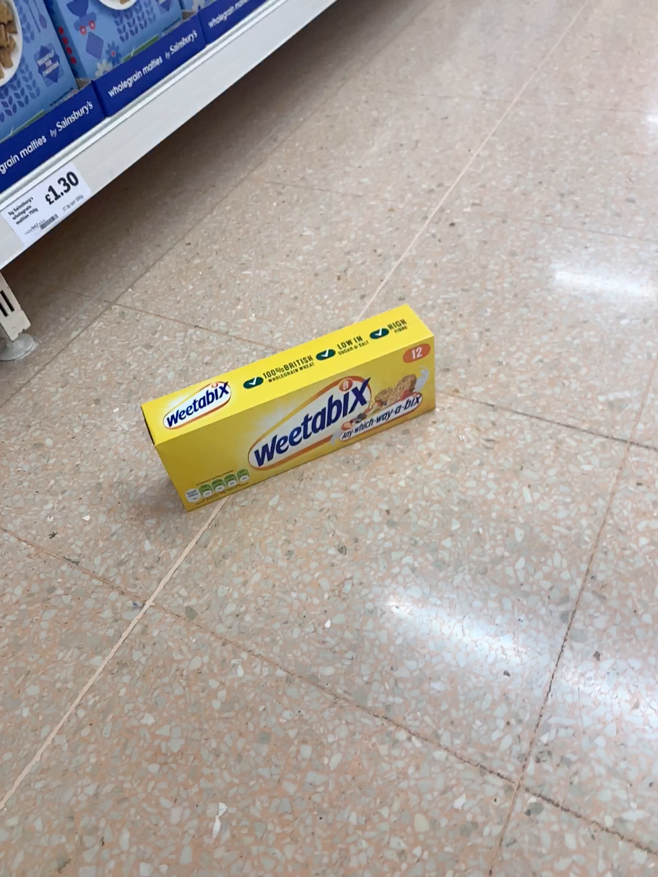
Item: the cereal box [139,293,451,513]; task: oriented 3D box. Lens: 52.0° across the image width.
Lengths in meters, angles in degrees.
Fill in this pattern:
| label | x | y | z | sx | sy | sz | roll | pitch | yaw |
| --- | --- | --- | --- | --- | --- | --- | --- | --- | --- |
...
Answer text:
| label | x | y | z | sx | sy | sz | roll | pitch | yaw |
| --- | --- | --- | --- | --- | --- | --- | --- | --- | --- |
| cereal box | -0.020 | -0.031 | 0.594 | 0.260 | 0.099 | 0.050 | -22 | 49 | -9 |
